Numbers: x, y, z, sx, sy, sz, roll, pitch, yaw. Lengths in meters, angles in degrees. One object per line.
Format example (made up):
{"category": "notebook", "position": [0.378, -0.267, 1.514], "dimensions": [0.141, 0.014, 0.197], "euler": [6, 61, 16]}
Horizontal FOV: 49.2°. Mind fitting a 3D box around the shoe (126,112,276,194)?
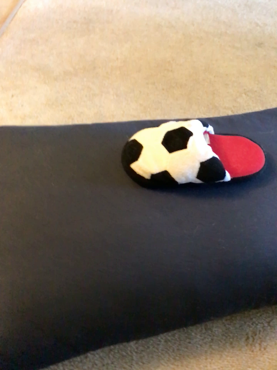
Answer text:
{"category": "shoe", "position": [0.089, -0.051, 0.485], "dimensions": [0.213, 0.072, 0.108], "euler": [-1, 54, -4]}
